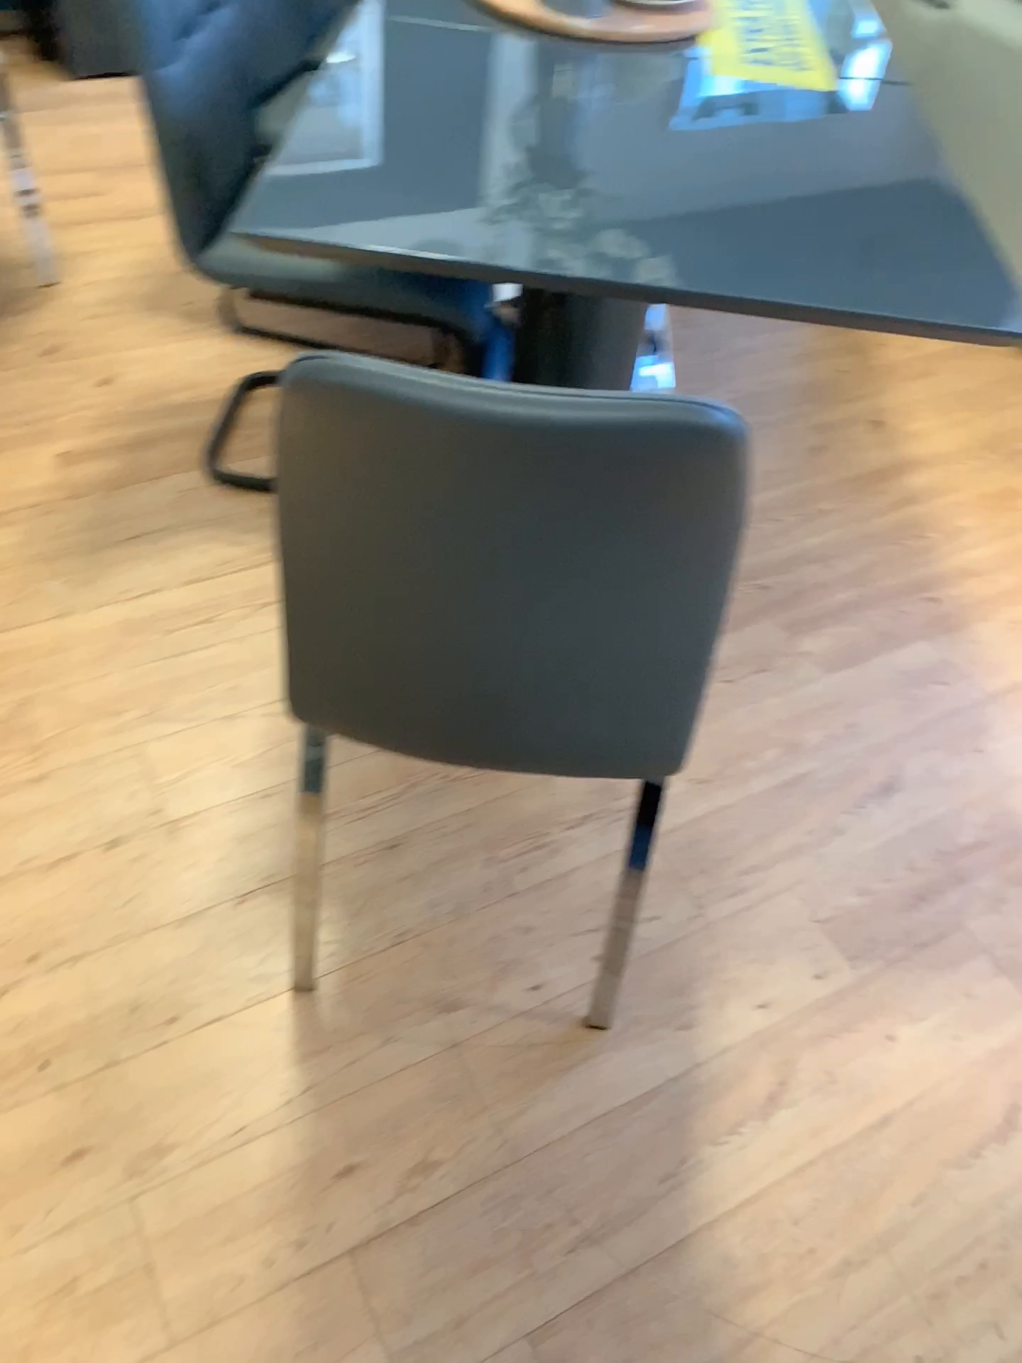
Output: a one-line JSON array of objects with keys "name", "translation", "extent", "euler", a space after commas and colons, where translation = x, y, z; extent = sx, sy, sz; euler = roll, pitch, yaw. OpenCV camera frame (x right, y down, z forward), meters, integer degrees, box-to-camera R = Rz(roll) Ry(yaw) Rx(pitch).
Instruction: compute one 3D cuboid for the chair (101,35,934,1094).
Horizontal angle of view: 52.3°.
[{"name": "chair", "translation": [-0.008, -0.076, 1.140], "extent": [0.480, 0.891, 0.646], "euler": [8, 47, 0]}]
